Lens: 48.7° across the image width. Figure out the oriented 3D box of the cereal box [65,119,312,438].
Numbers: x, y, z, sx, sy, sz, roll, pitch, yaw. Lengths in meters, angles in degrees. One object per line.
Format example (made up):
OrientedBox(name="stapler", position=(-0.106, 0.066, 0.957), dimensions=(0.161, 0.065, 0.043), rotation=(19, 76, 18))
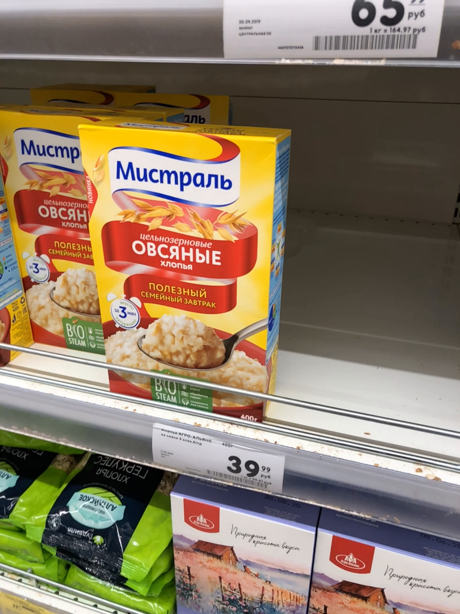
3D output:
OrientedBox(name="cereal box", position=(-0.028, -0.020, 0.369), dimensions=(0.150, 0.209, 0.050), rotation=(9, 27, 16))
